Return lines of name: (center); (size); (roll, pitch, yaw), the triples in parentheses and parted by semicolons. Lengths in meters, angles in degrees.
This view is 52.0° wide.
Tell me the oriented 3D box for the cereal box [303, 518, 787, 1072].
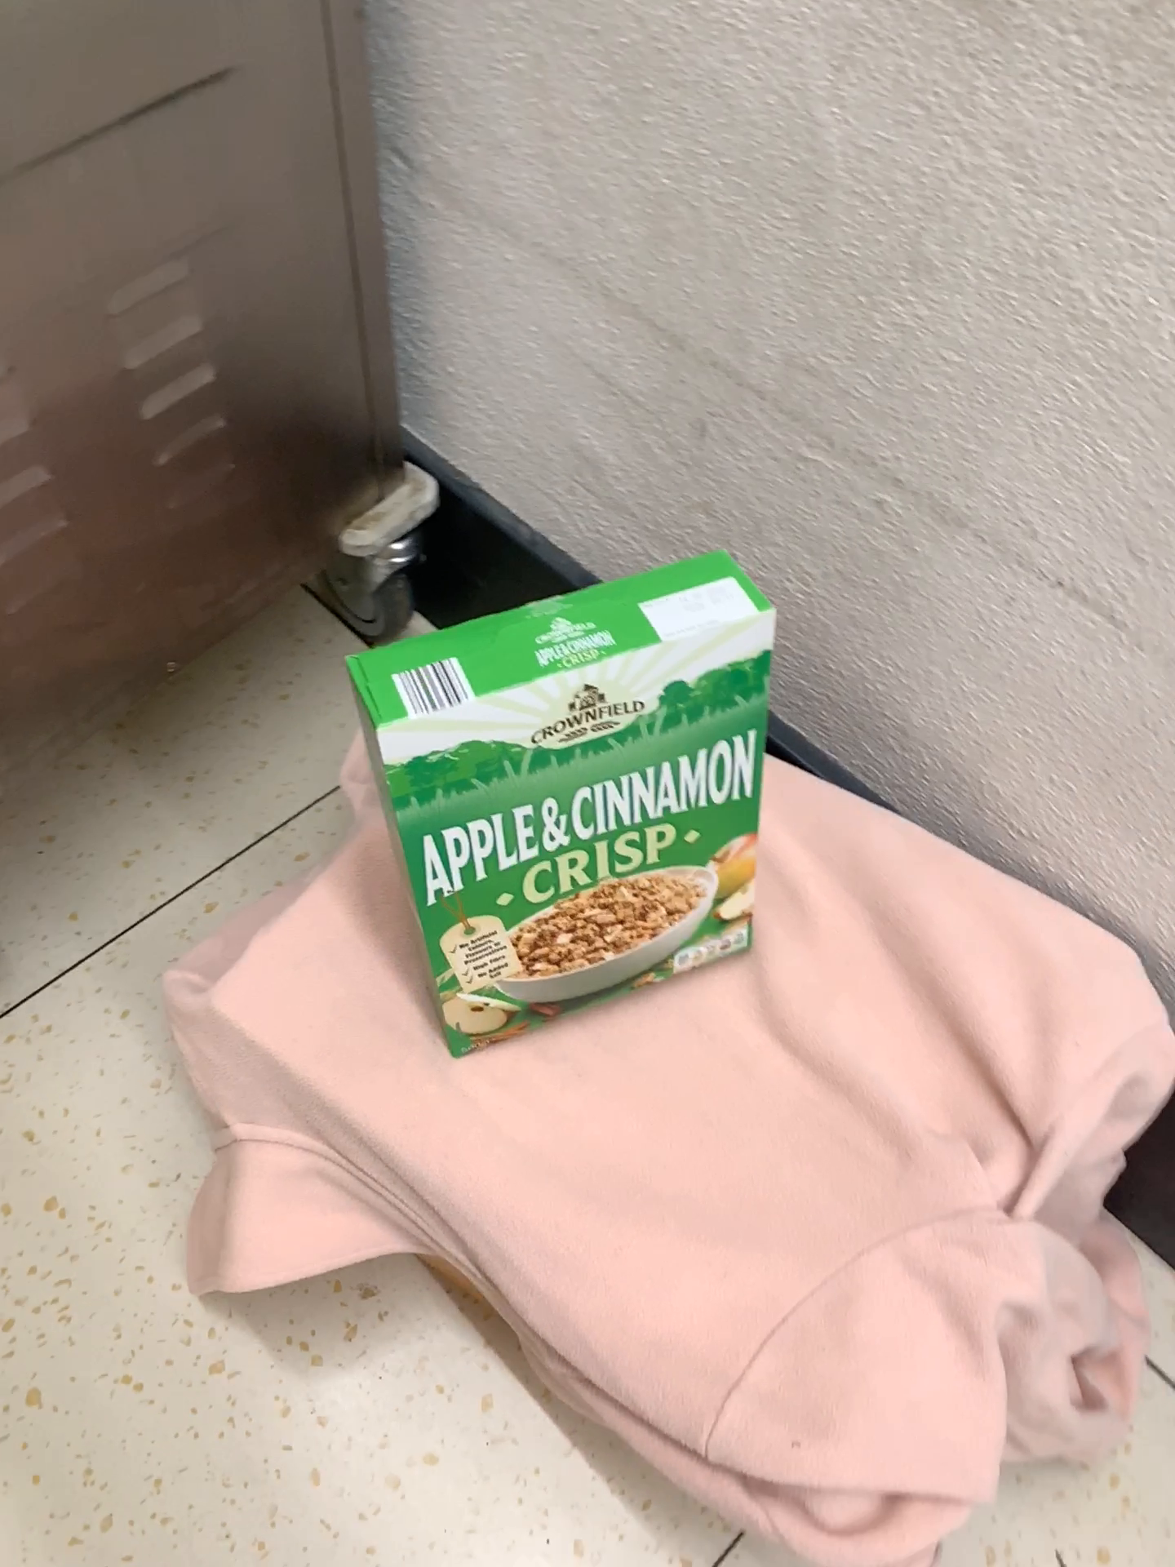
cereal box: (-0.013, 0.018, 0.589); (0.190, 0.258, 0.060); (-17, 49, -14)
